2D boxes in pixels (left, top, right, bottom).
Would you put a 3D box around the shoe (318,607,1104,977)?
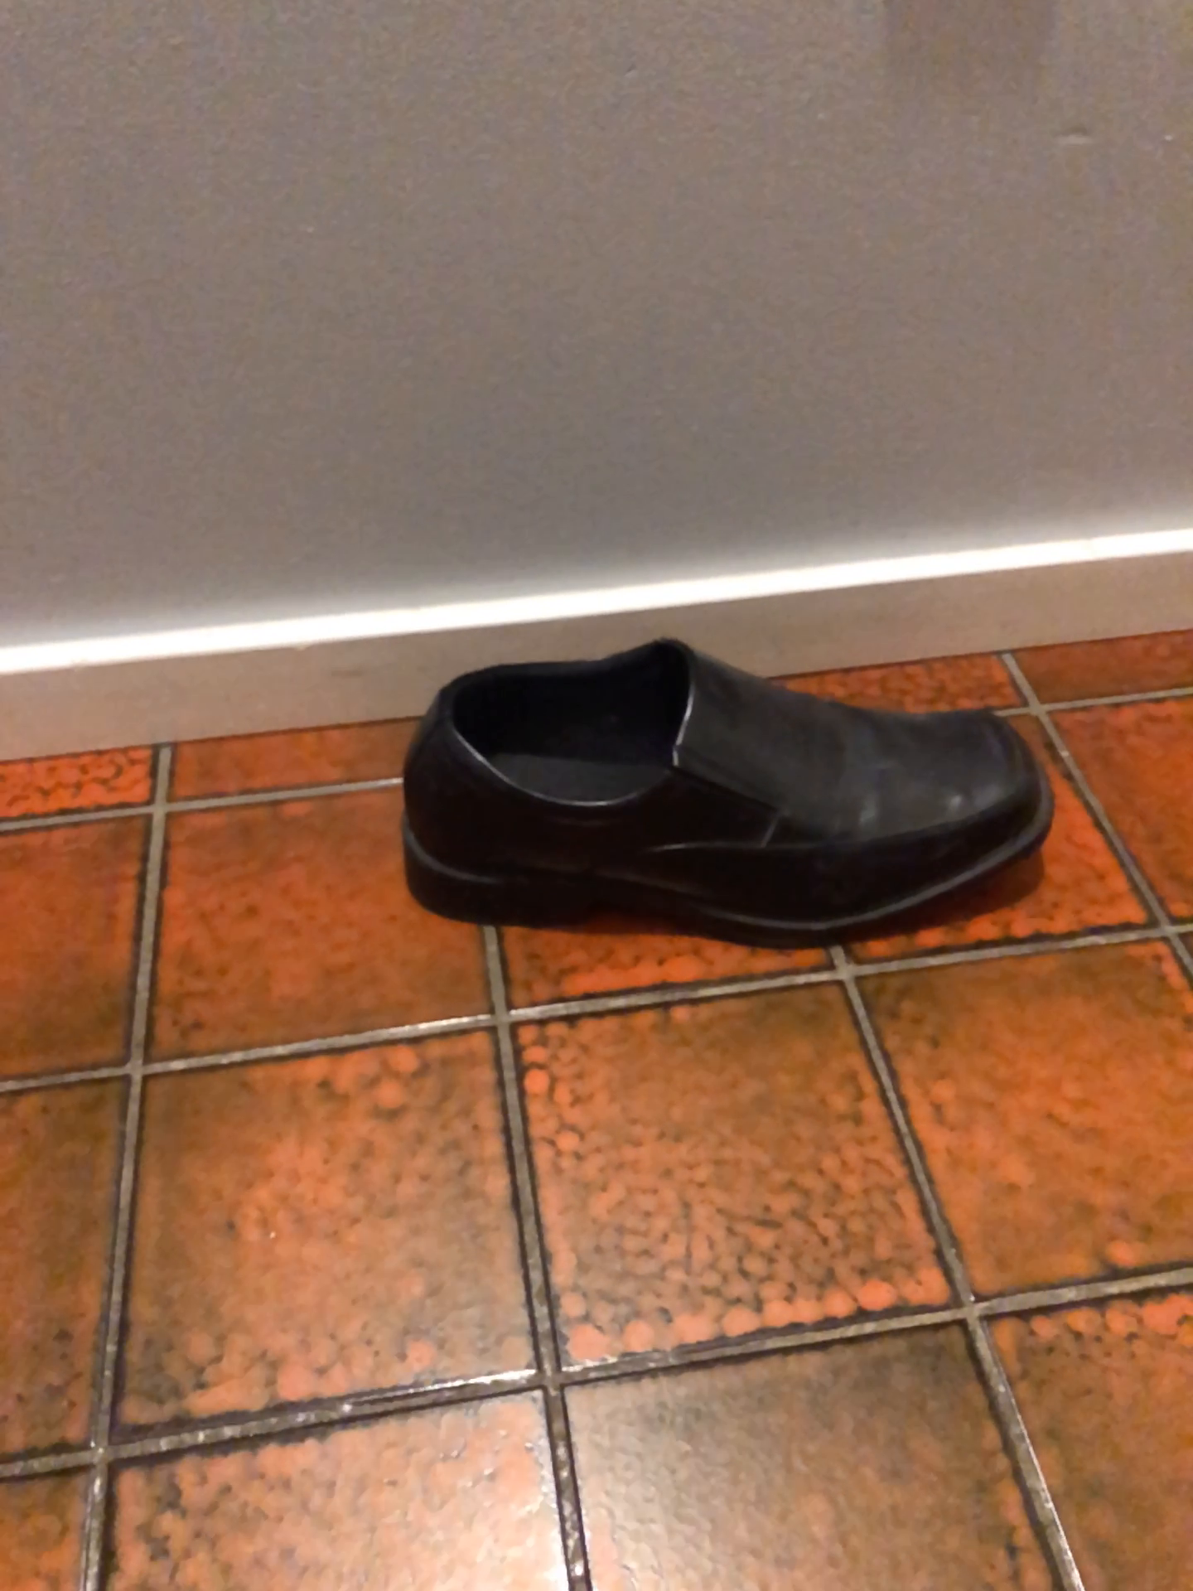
[{"bbox_3d":[0.045,-0.003,0.583,0.300,0.100,0.120,1,46,1],"label":"shoe"}]
